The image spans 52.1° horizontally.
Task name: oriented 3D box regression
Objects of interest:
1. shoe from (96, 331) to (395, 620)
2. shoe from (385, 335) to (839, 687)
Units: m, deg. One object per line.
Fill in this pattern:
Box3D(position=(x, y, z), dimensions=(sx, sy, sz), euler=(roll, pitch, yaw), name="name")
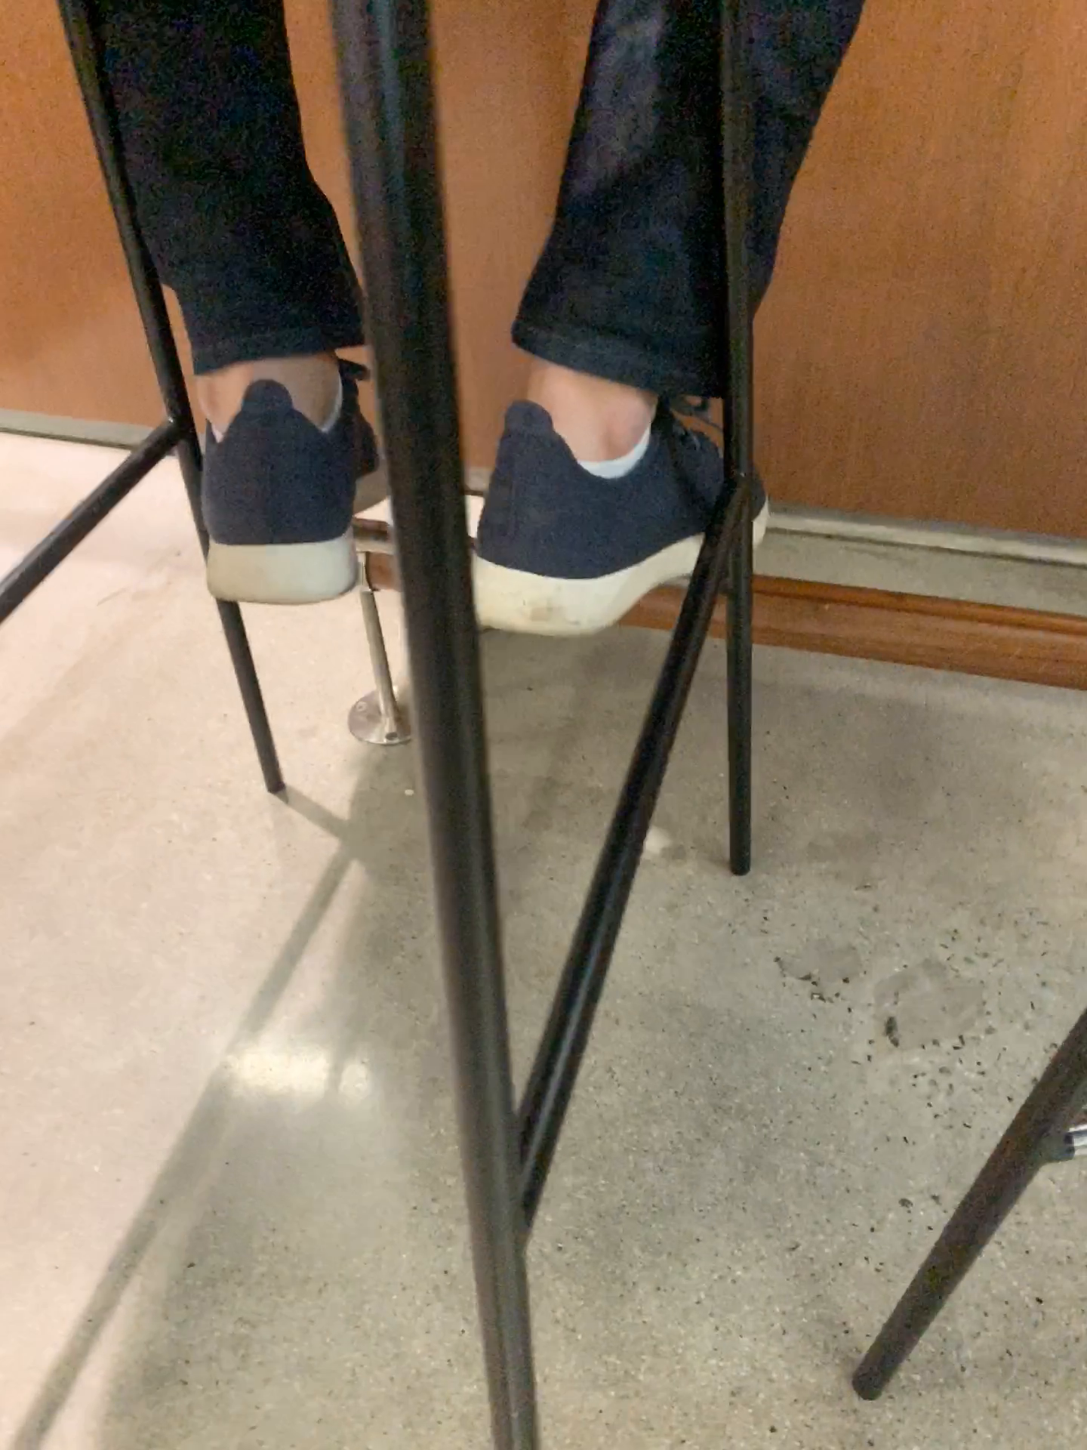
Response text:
Box3D(position=(-0.165, -0.171, 0.695), dimensions=(0.124, 0.093, 0.300), euler=(-2, 29, -3), name="shoe")
Box3D(position=(0.053, -0.144, 0.656), dimensions=(0.129, 0.093, 0.301), euler=(24, 36, 22), name="shoe")
